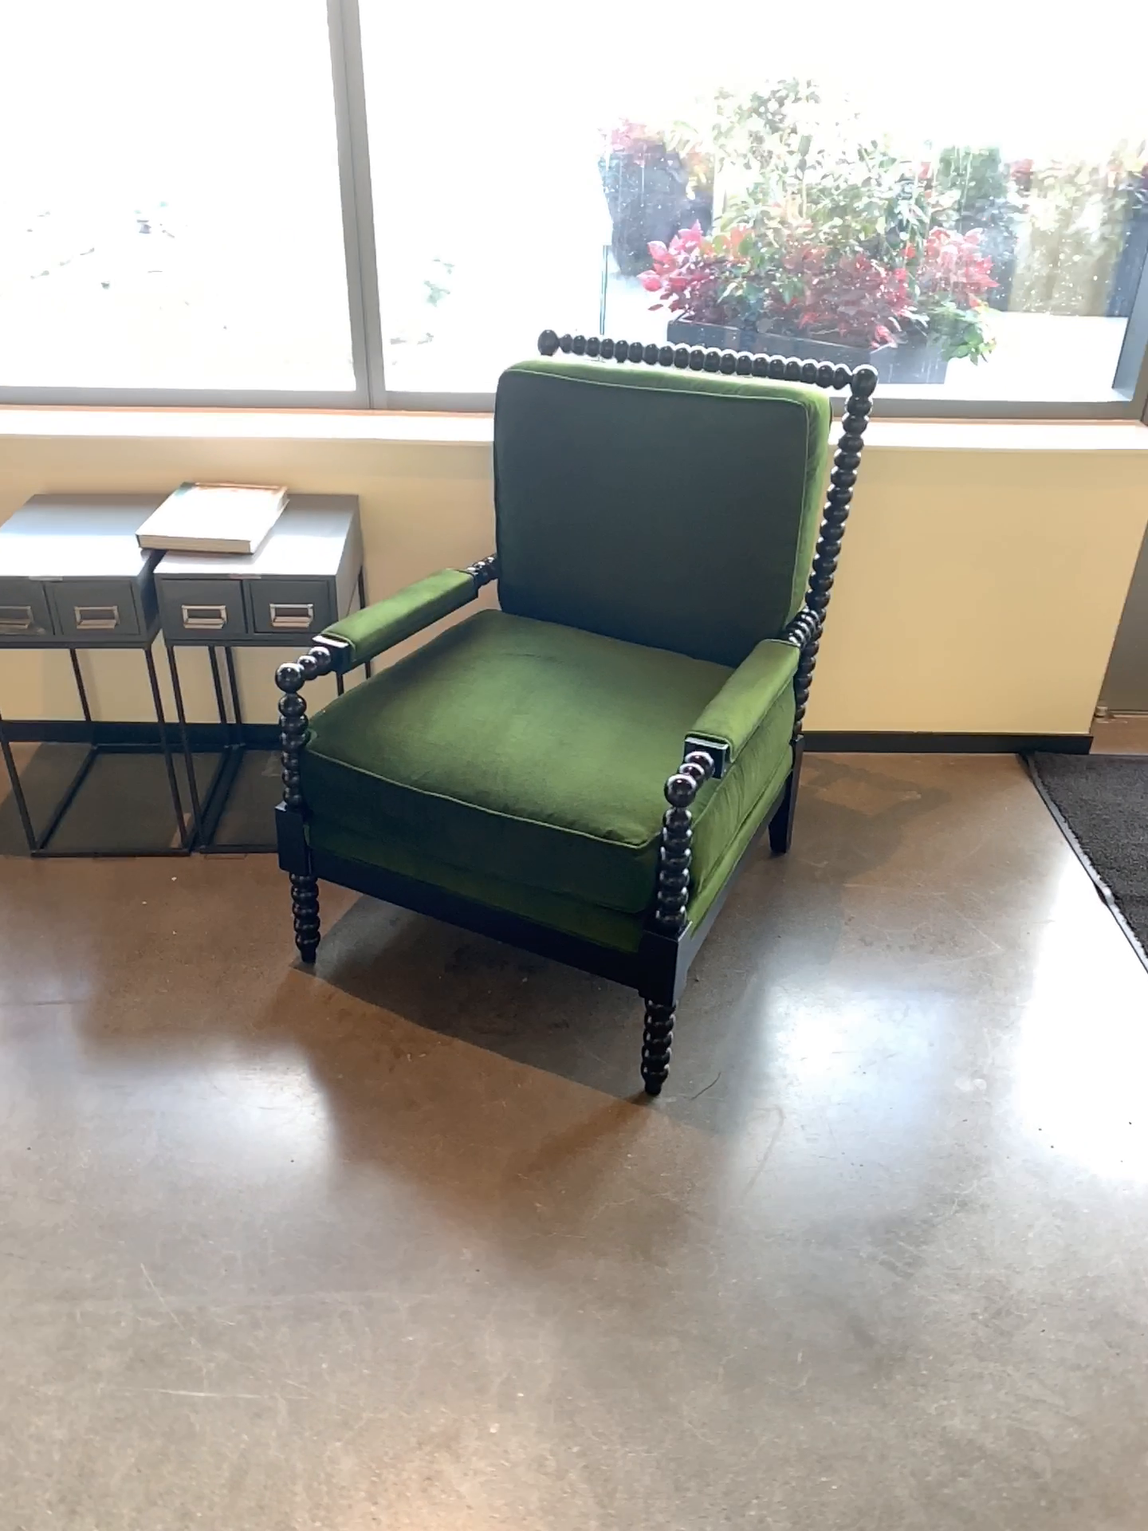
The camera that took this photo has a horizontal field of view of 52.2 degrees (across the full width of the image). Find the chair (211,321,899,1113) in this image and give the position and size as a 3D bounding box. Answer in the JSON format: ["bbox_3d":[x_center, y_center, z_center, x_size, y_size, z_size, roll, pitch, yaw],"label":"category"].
[{"bbox_3d":[0.020,-0.170,2.137,0.762,0.984,0.924,16,35,22],"label":"chair"}]
